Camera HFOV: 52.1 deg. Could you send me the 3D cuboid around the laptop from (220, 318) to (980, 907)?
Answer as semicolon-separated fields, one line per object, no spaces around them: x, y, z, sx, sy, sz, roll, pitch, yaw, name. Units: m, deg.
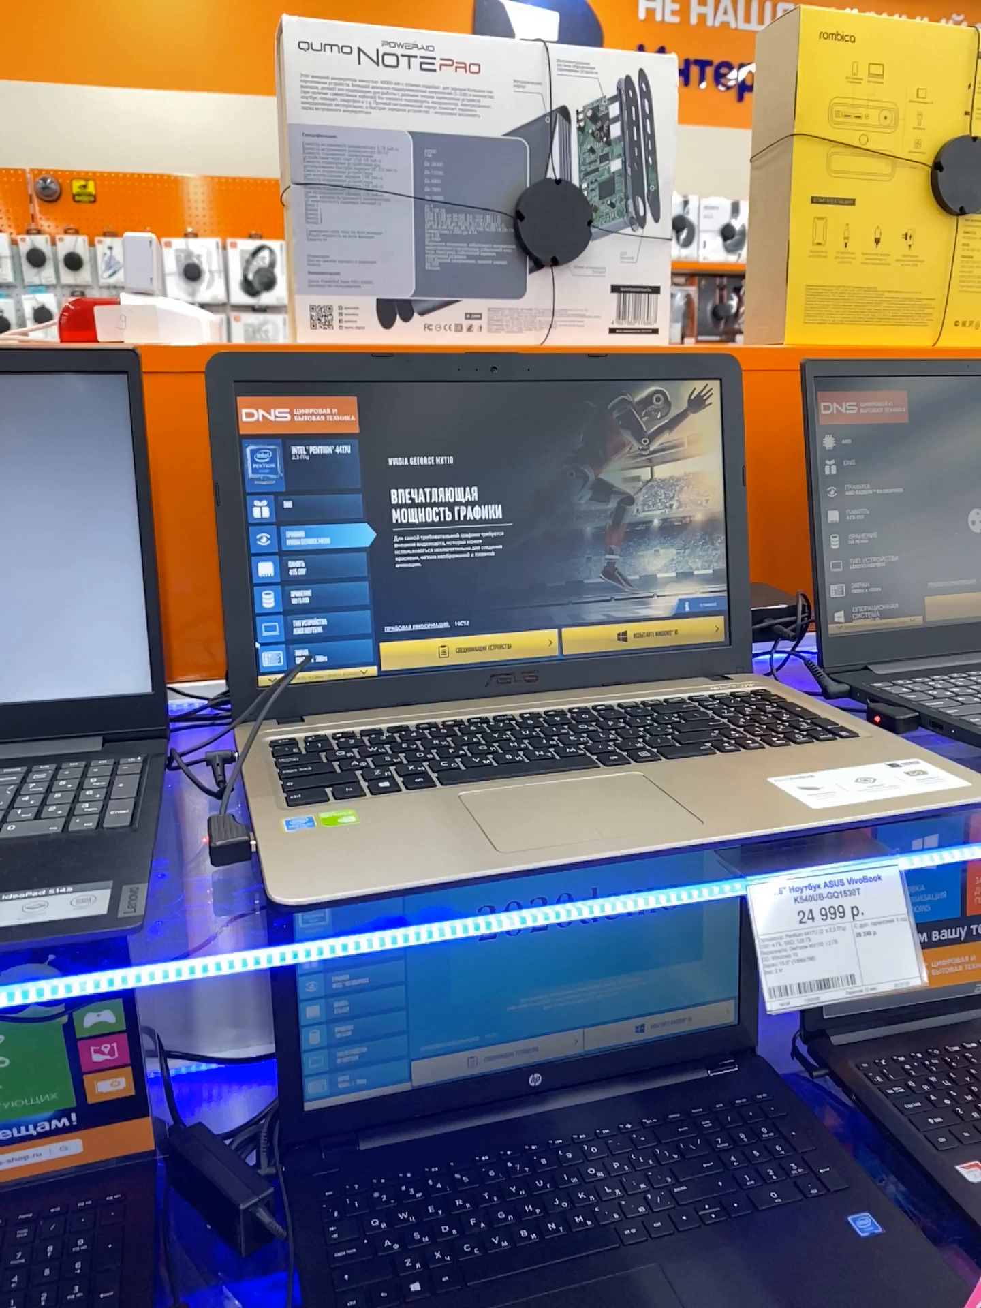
0.052;-0.056;0.577;0.376;0.230;0.294;-4;14;-16;laptop
